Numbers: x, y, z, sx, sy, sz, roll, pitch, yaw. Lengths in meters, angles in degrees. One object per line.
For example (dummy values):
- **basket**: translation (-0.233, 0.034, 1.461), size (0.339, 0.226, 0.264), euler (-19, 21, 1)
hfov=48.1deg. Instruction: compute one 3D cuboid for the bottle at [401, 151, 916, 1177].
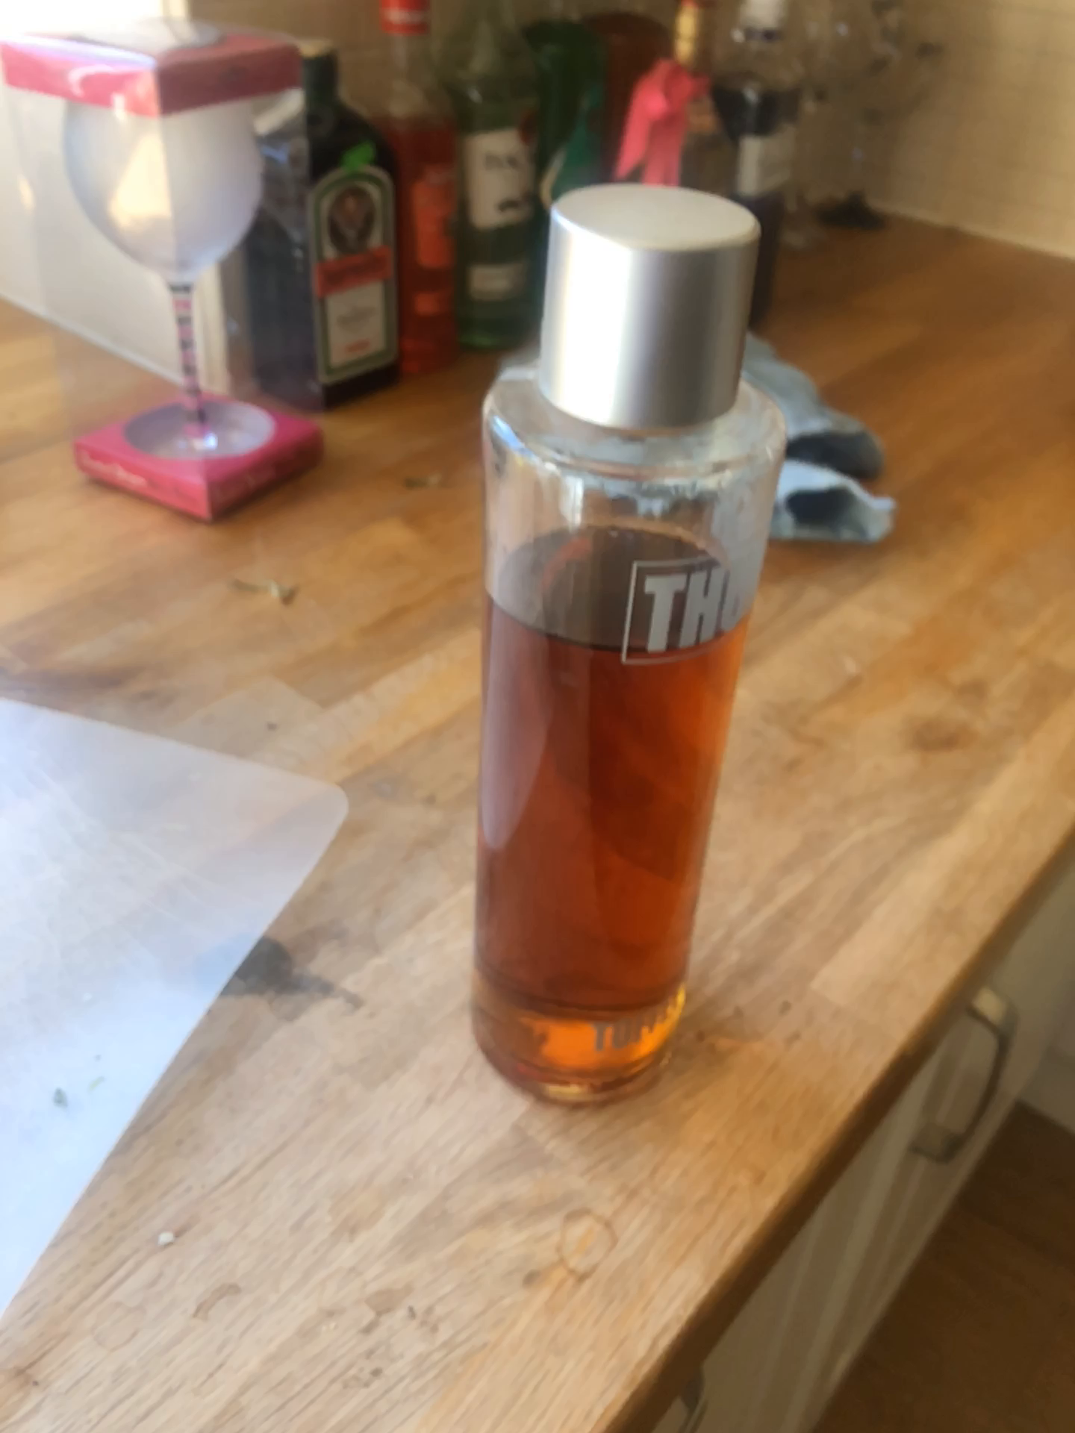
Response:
- **bottle**: translation (0.021, 0.001, 0.346), size (0.080, 0.278, 0.081), euler (2, 37, -1)
